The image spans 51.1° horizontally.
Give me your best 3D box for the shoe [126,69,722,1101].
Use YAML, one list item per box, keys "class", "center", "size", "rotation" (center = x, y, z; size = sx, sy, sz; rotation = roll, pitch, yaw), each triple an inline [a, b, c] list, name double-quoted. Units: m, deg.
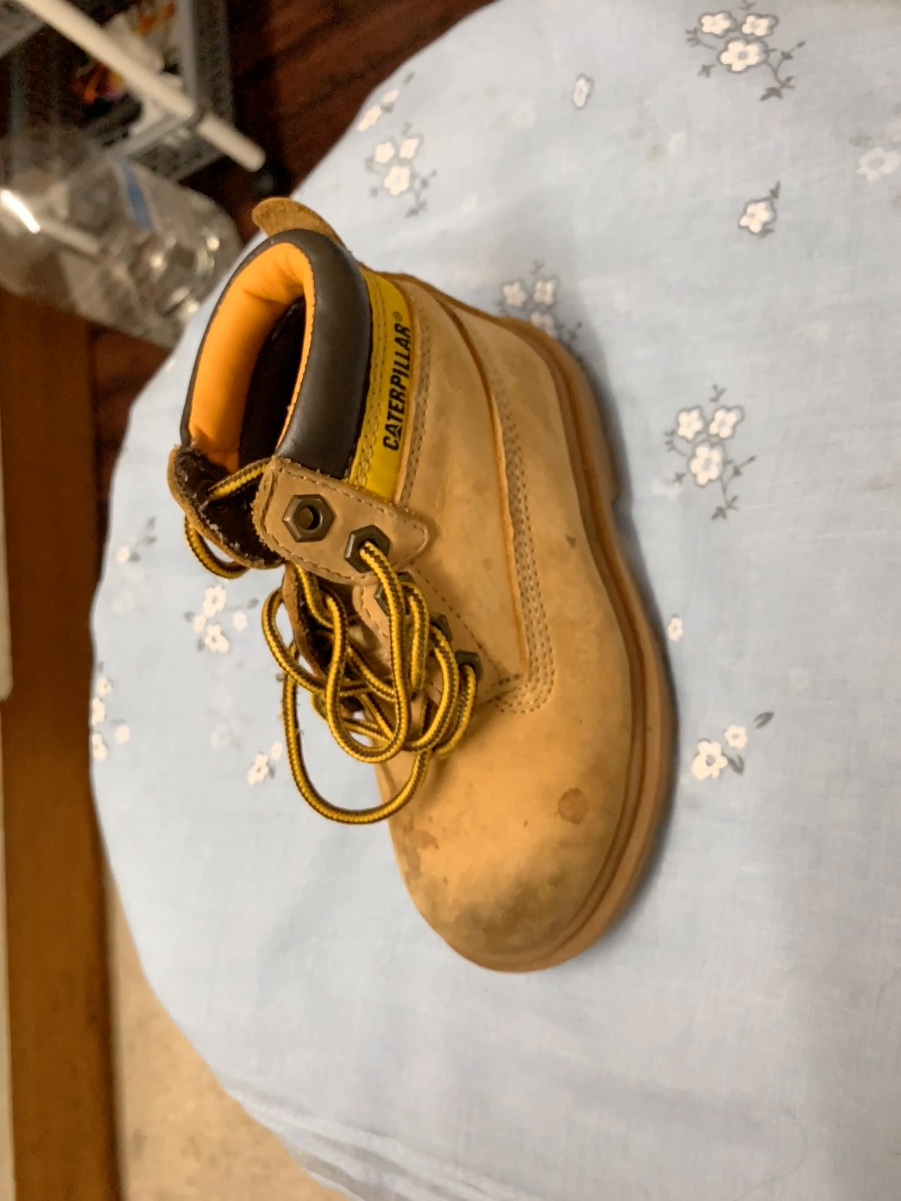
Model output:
- class: "shoe"
  center: [-0.003, 0.001, 0.245]
  size: [0.096, 0.119, 0.190]
  rotation: [-9, 79, 30]
